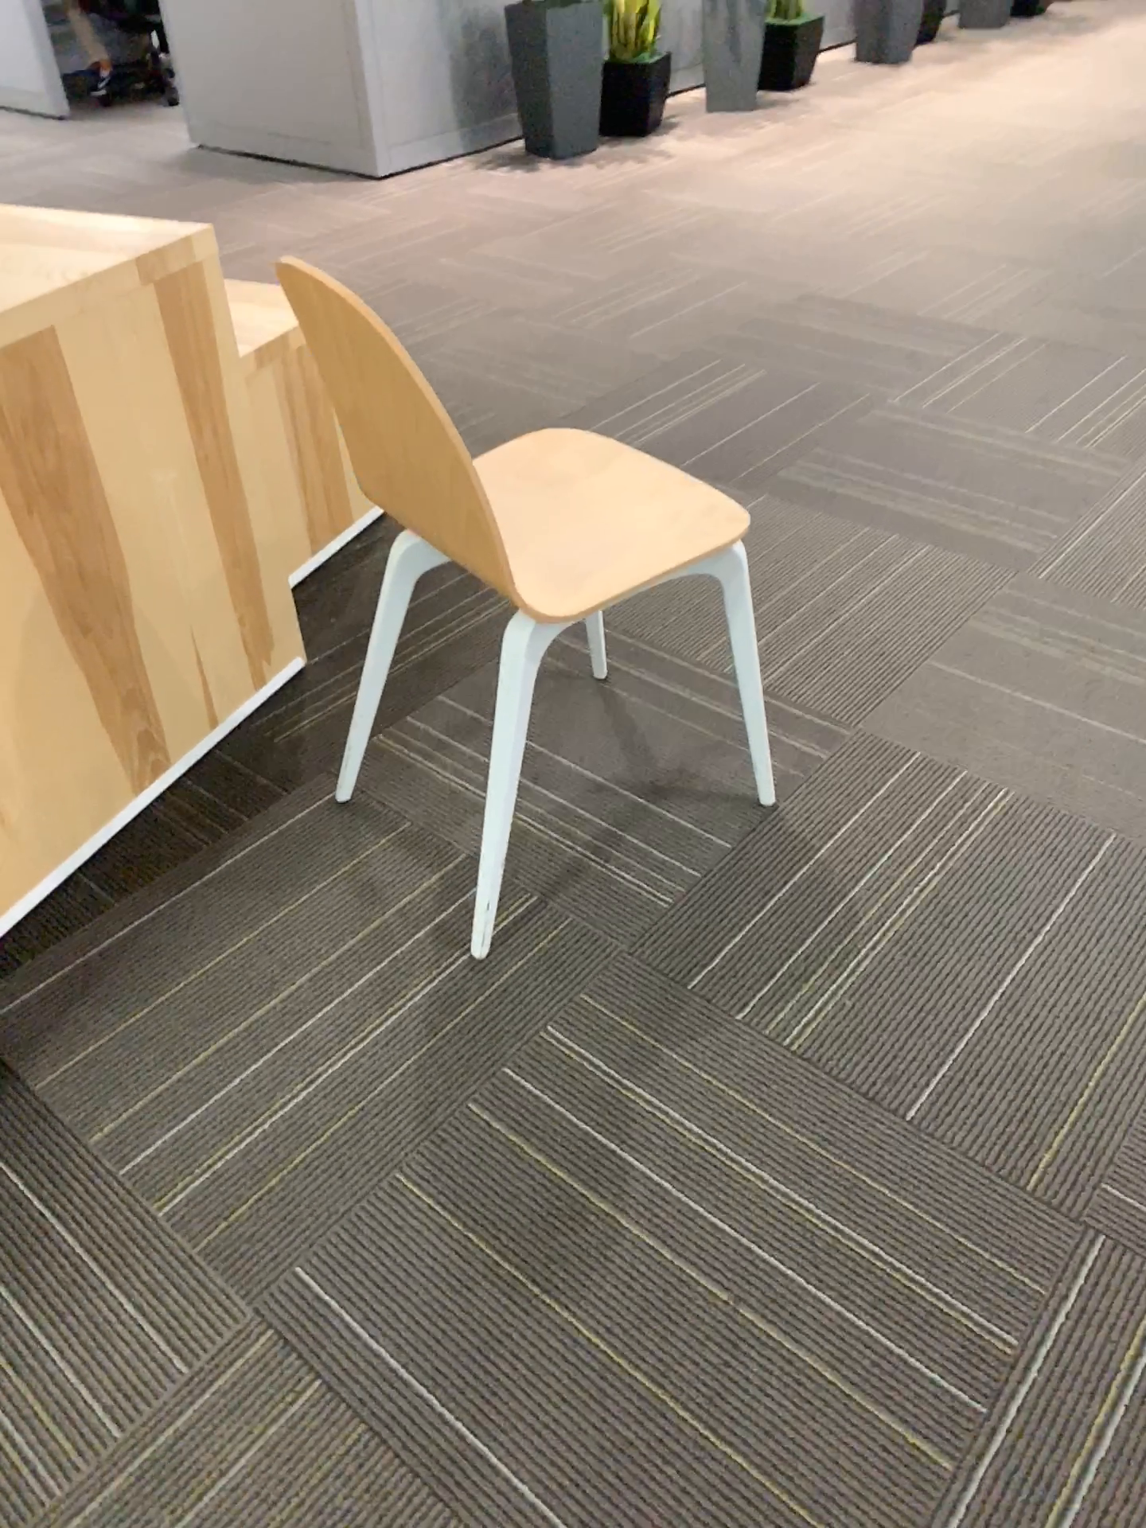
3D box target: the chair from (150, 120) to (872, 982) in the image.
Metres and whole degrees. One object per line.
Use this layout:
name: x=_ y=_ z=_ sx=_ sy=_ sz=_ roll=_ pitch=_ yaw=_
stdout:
chair: x=-0.066 y=-0.292 z=1.508 sx=0.561 sy=0.815 sz=0.553 roll=-27 pitch=45 yaw=-27
